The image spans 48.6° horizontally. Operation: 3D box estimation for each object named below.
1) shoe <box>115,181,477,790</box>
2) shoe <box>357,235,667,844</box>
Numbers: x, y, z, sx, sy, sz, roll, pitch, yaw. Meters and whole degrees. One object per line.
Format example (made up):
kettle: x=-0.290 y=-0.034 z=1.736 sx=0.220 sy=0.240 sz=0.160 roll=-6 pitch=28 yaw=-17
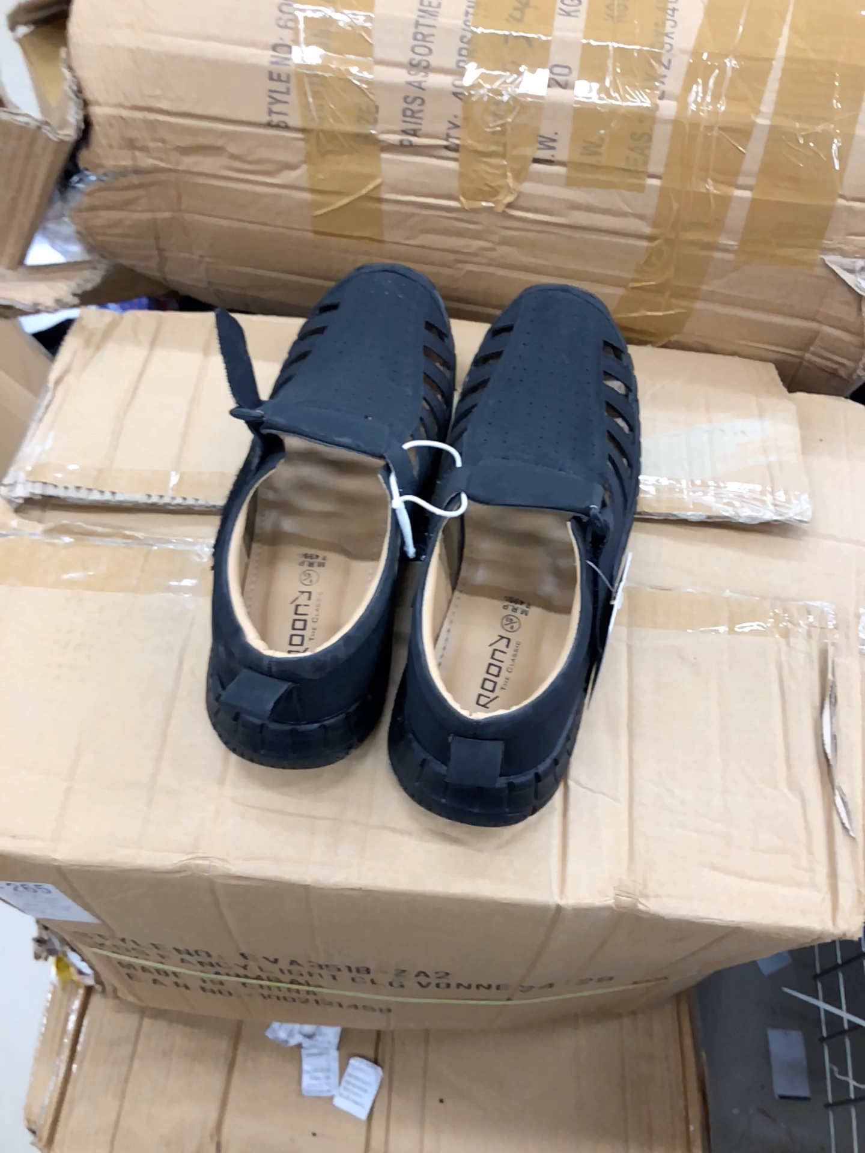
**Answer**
shoe: x=-0.048 y=-0.055 z=0.462 sx=0.110 sy=0.099 sz=0.282 roll=6 pitch=57 yaw=1
shoe: x=0.043 y=-0.028 z=0.459 sx=0.100 sy=0.099 sz=0.272 roll=10 pitch=58 yaw=3
